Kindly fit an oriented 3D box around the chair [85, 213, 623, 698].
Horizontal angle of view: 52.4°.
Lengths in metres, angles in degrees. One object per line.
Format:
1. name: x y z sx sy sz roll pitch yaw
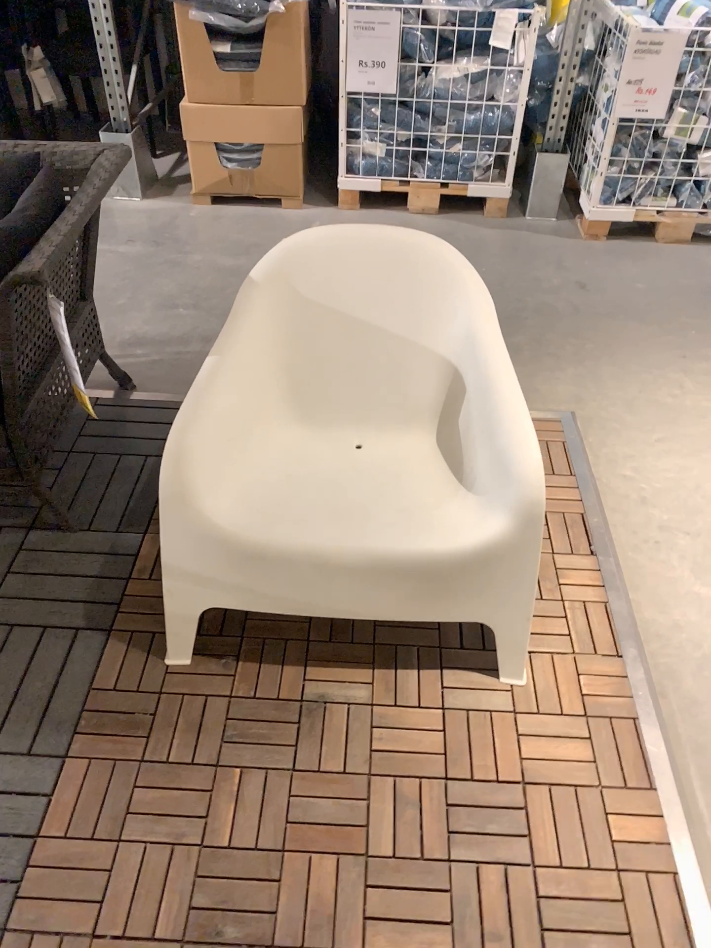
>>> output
1. chair: 0.009 -0.066 1.527 0.770 0.637 0.763 3 42 2
